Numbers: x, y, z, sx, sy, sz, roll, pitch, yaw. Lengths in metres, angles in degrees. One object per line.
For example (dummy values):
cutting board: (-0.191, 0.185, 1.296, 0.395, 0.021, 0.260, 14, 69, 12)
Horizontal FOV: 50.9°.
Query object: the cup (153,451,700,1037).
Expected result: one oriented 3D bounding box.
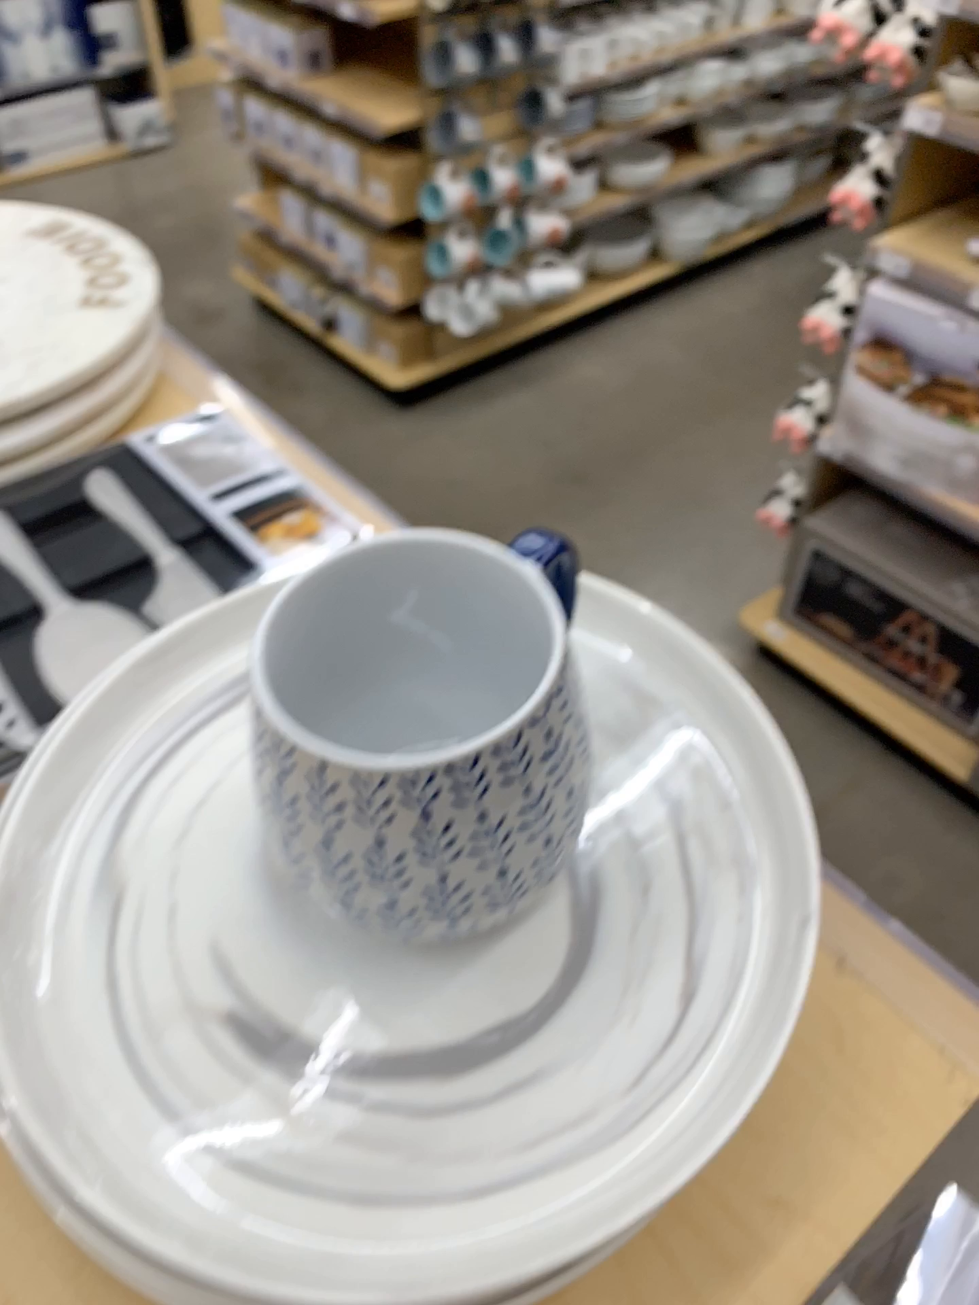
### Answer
cup: (-0.013, 0.024, 0.334, 0.104, 0.097, 0.128, 25, 53, 21)
